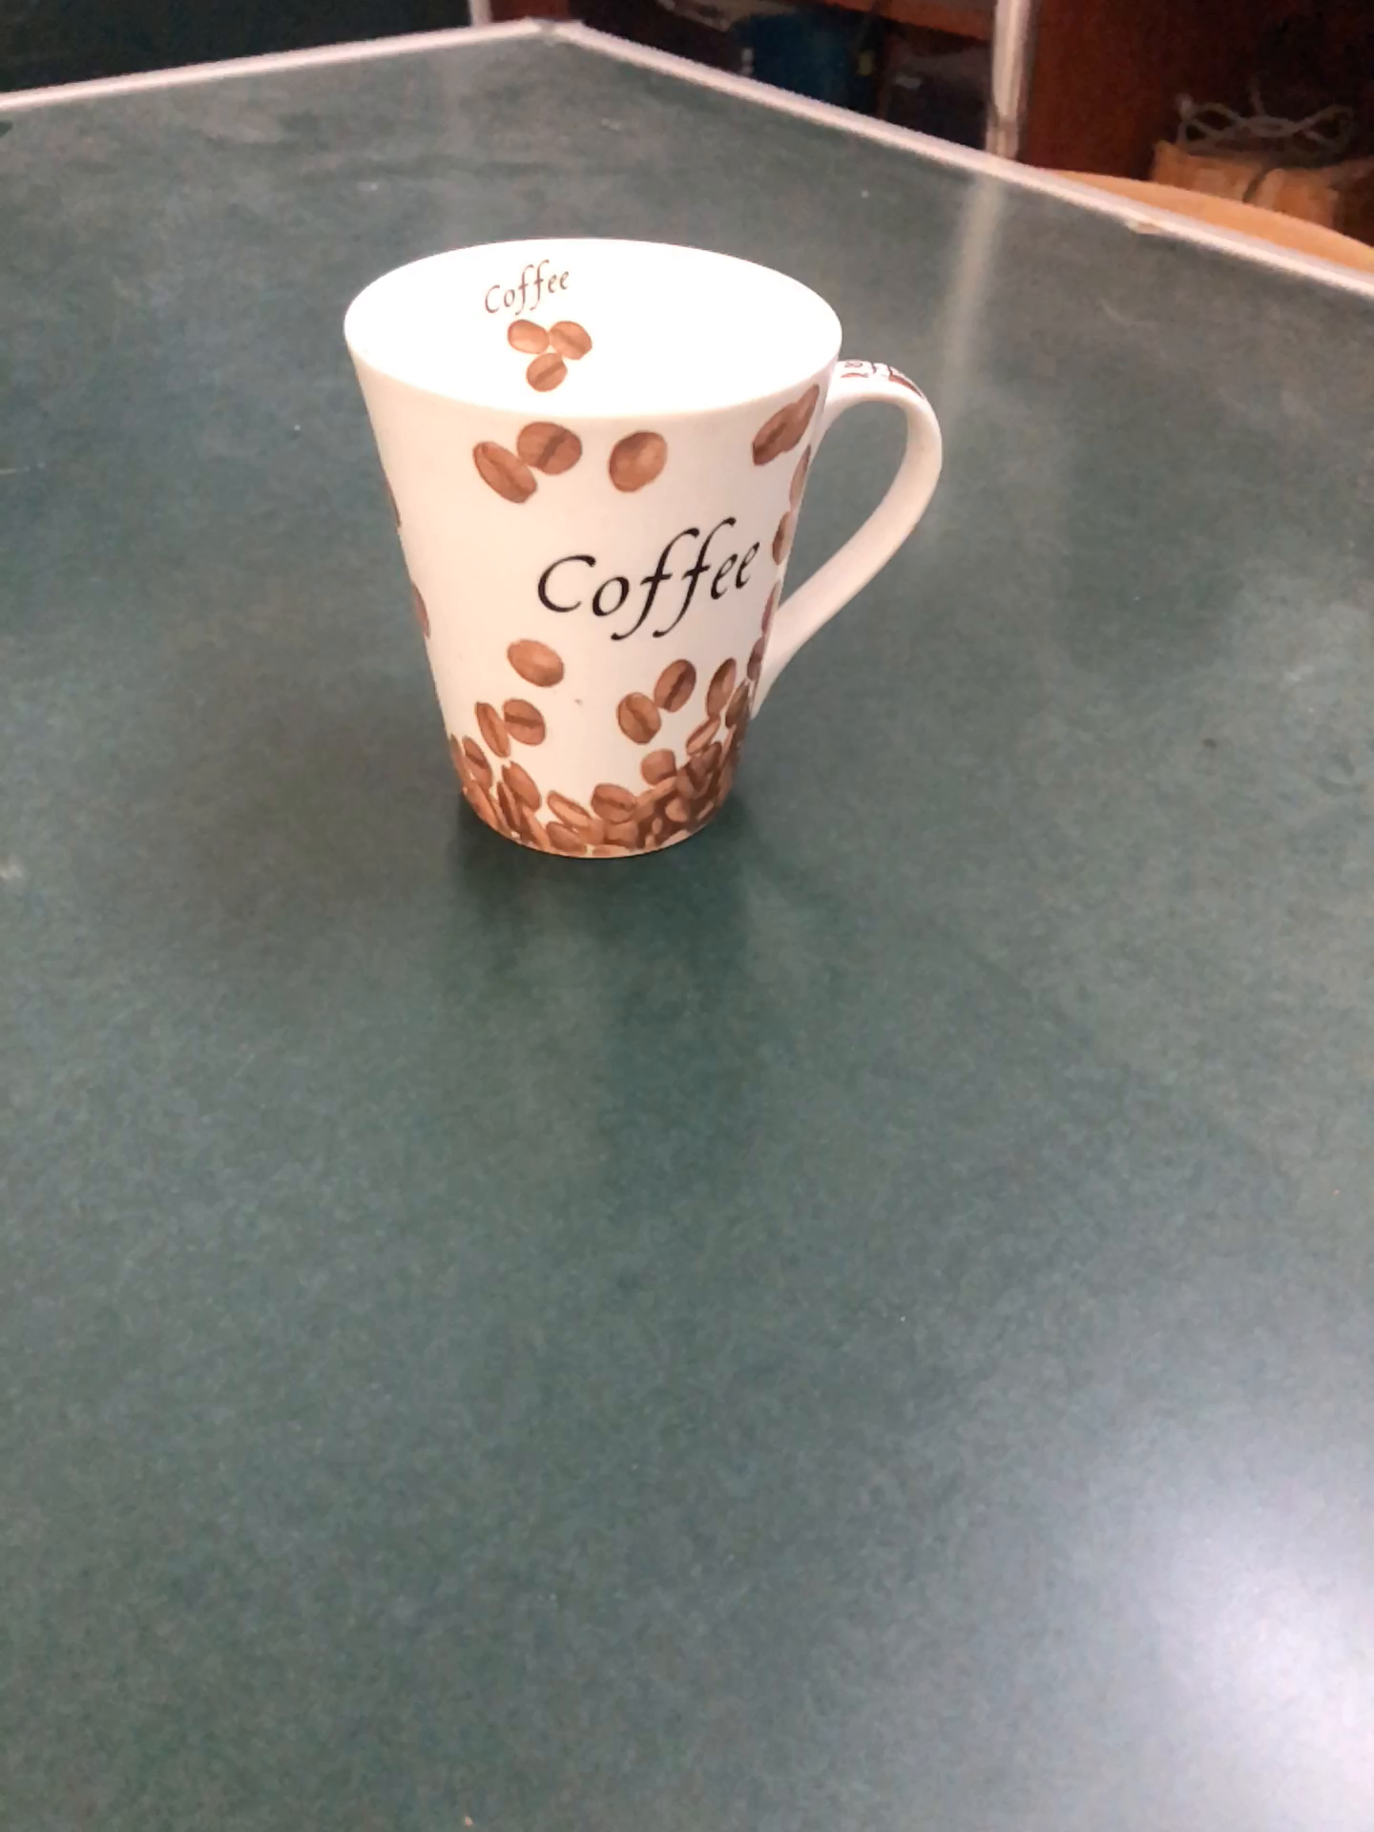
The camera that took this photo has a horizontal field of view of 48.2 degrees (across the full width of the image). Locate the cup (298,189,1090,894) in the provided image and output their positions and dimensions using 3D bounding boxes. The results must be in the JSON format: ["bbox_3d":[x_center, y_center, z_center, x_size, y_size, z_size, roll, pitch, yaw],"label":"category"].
[{"bbox_3d":[-0.006,-0.079,0.303,0.120,0.090,0.100,-8,41,-12],"label":"cup"}]
